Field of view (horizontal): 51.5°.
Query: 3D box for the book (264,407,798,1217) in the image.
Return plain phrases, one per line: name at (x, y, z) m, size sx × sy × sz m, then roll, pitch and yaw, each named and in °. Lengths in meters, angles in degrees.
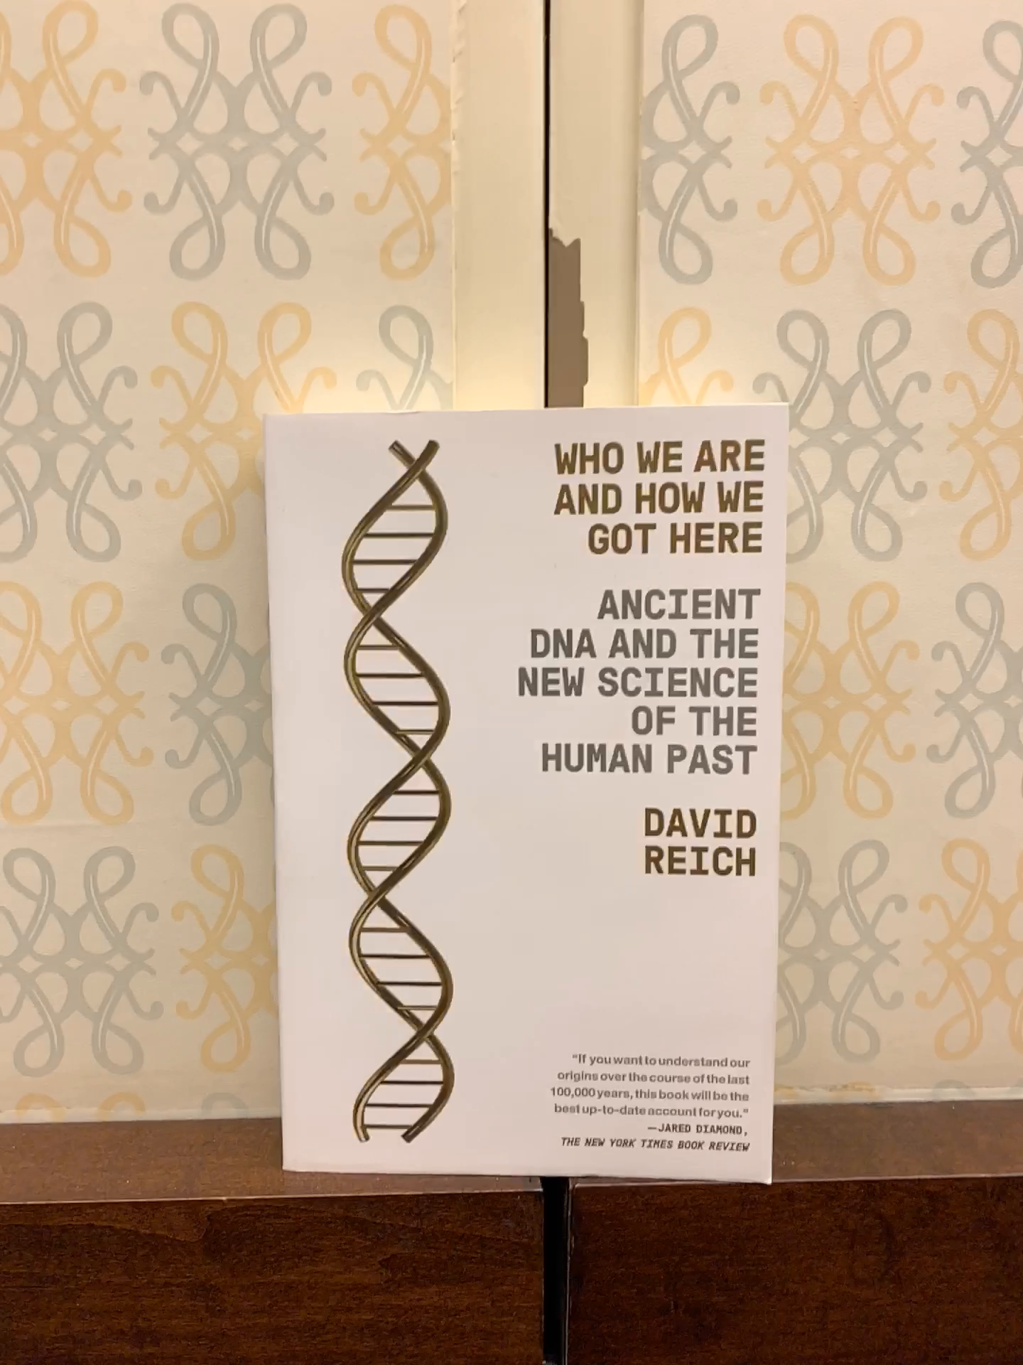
book at (0.004, 0.032, 0.282) m, size 0.127 × 0.199 × 0.041 m, roll 0°, pitch 6°, yaw -4°
